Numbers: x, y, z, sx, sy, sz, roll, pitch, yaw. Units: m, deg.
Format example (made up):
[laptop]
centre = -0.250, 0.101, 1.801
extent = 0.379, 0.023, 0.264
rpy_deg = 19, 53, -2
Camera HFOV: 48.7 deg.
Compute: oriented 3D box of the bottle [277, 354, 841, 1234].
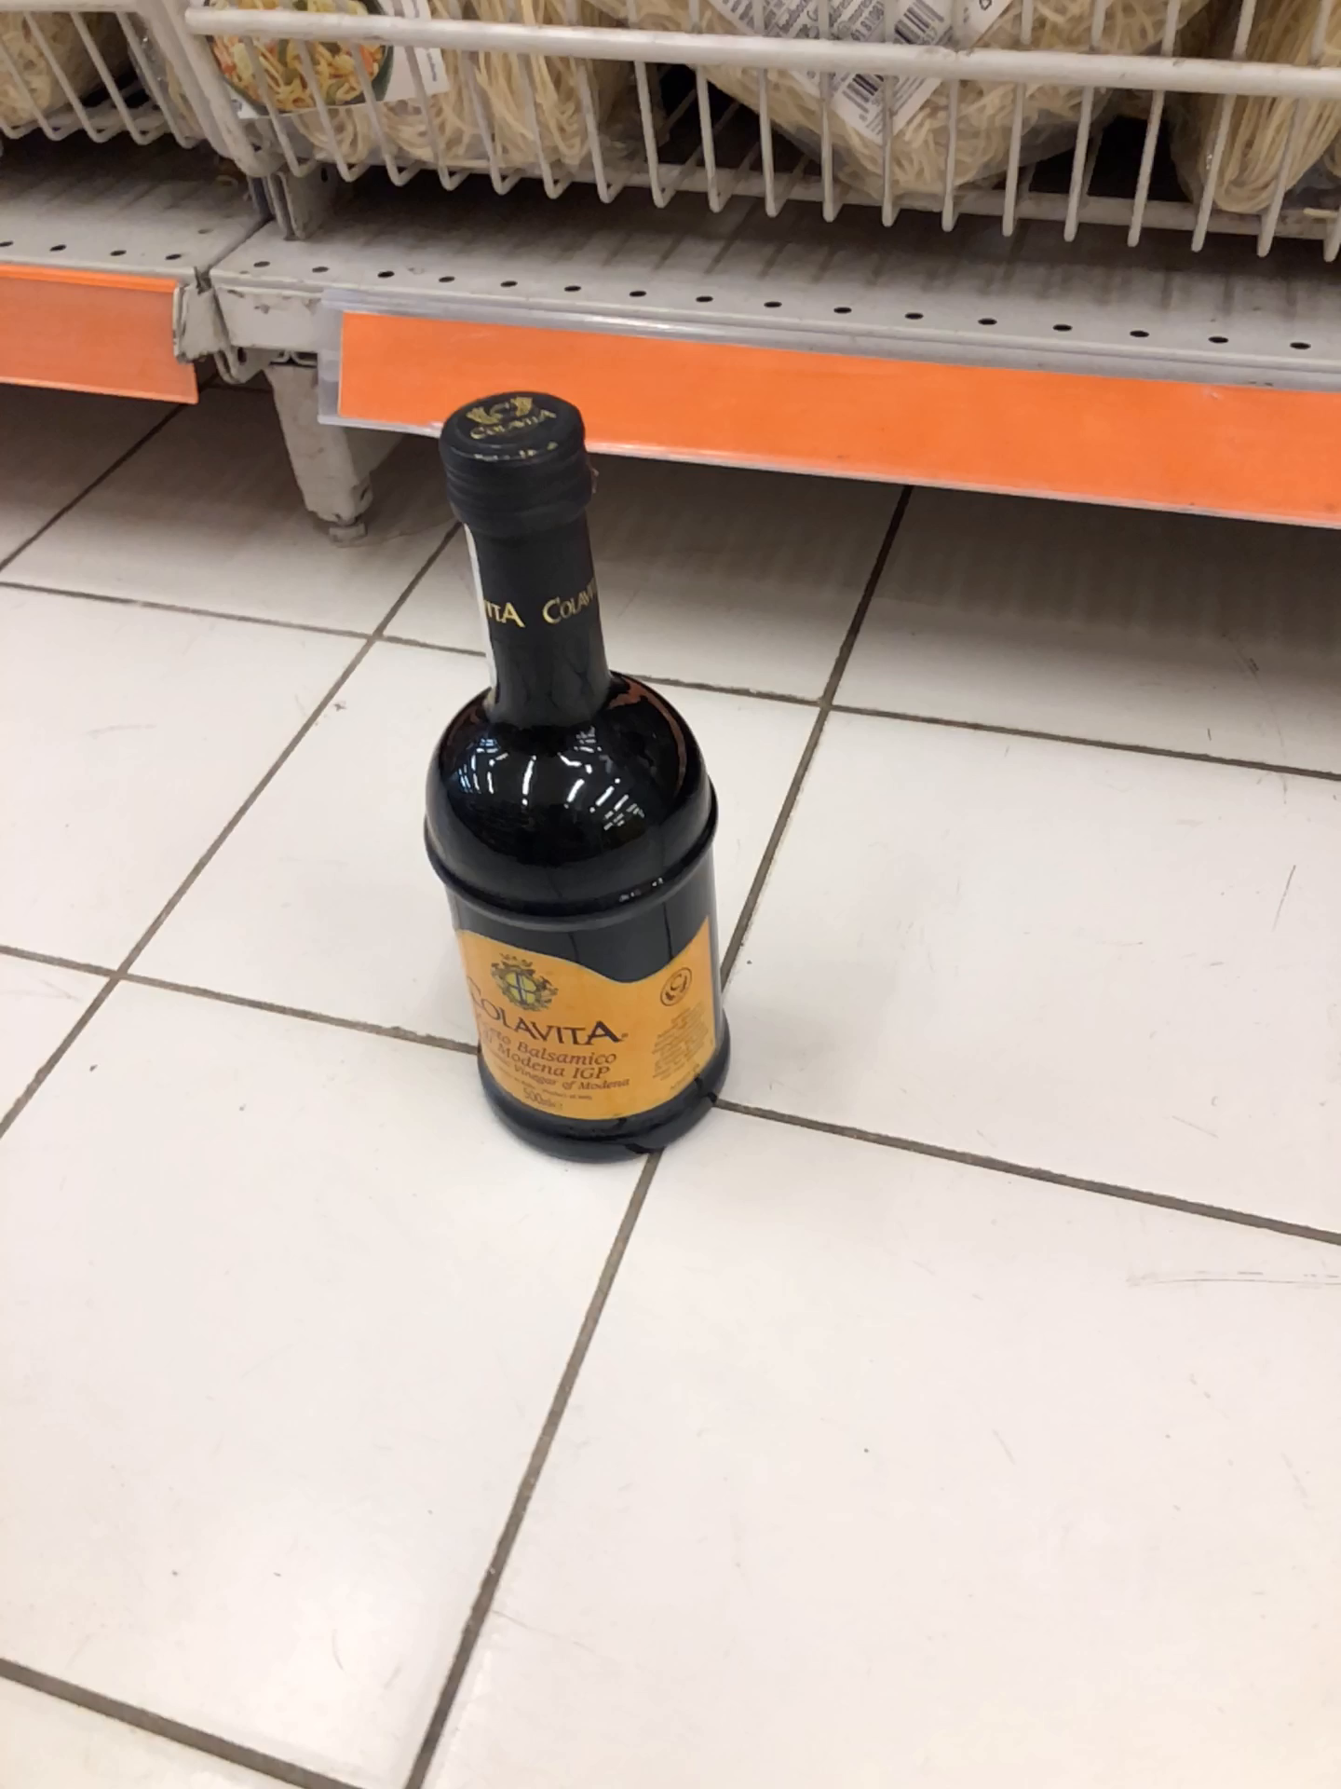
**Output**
[bottle]
centre = -0.014, -0.018, 0.379
extent = 0.090, 0.199, 0.091
rpy_deg = -3, 44, 3
